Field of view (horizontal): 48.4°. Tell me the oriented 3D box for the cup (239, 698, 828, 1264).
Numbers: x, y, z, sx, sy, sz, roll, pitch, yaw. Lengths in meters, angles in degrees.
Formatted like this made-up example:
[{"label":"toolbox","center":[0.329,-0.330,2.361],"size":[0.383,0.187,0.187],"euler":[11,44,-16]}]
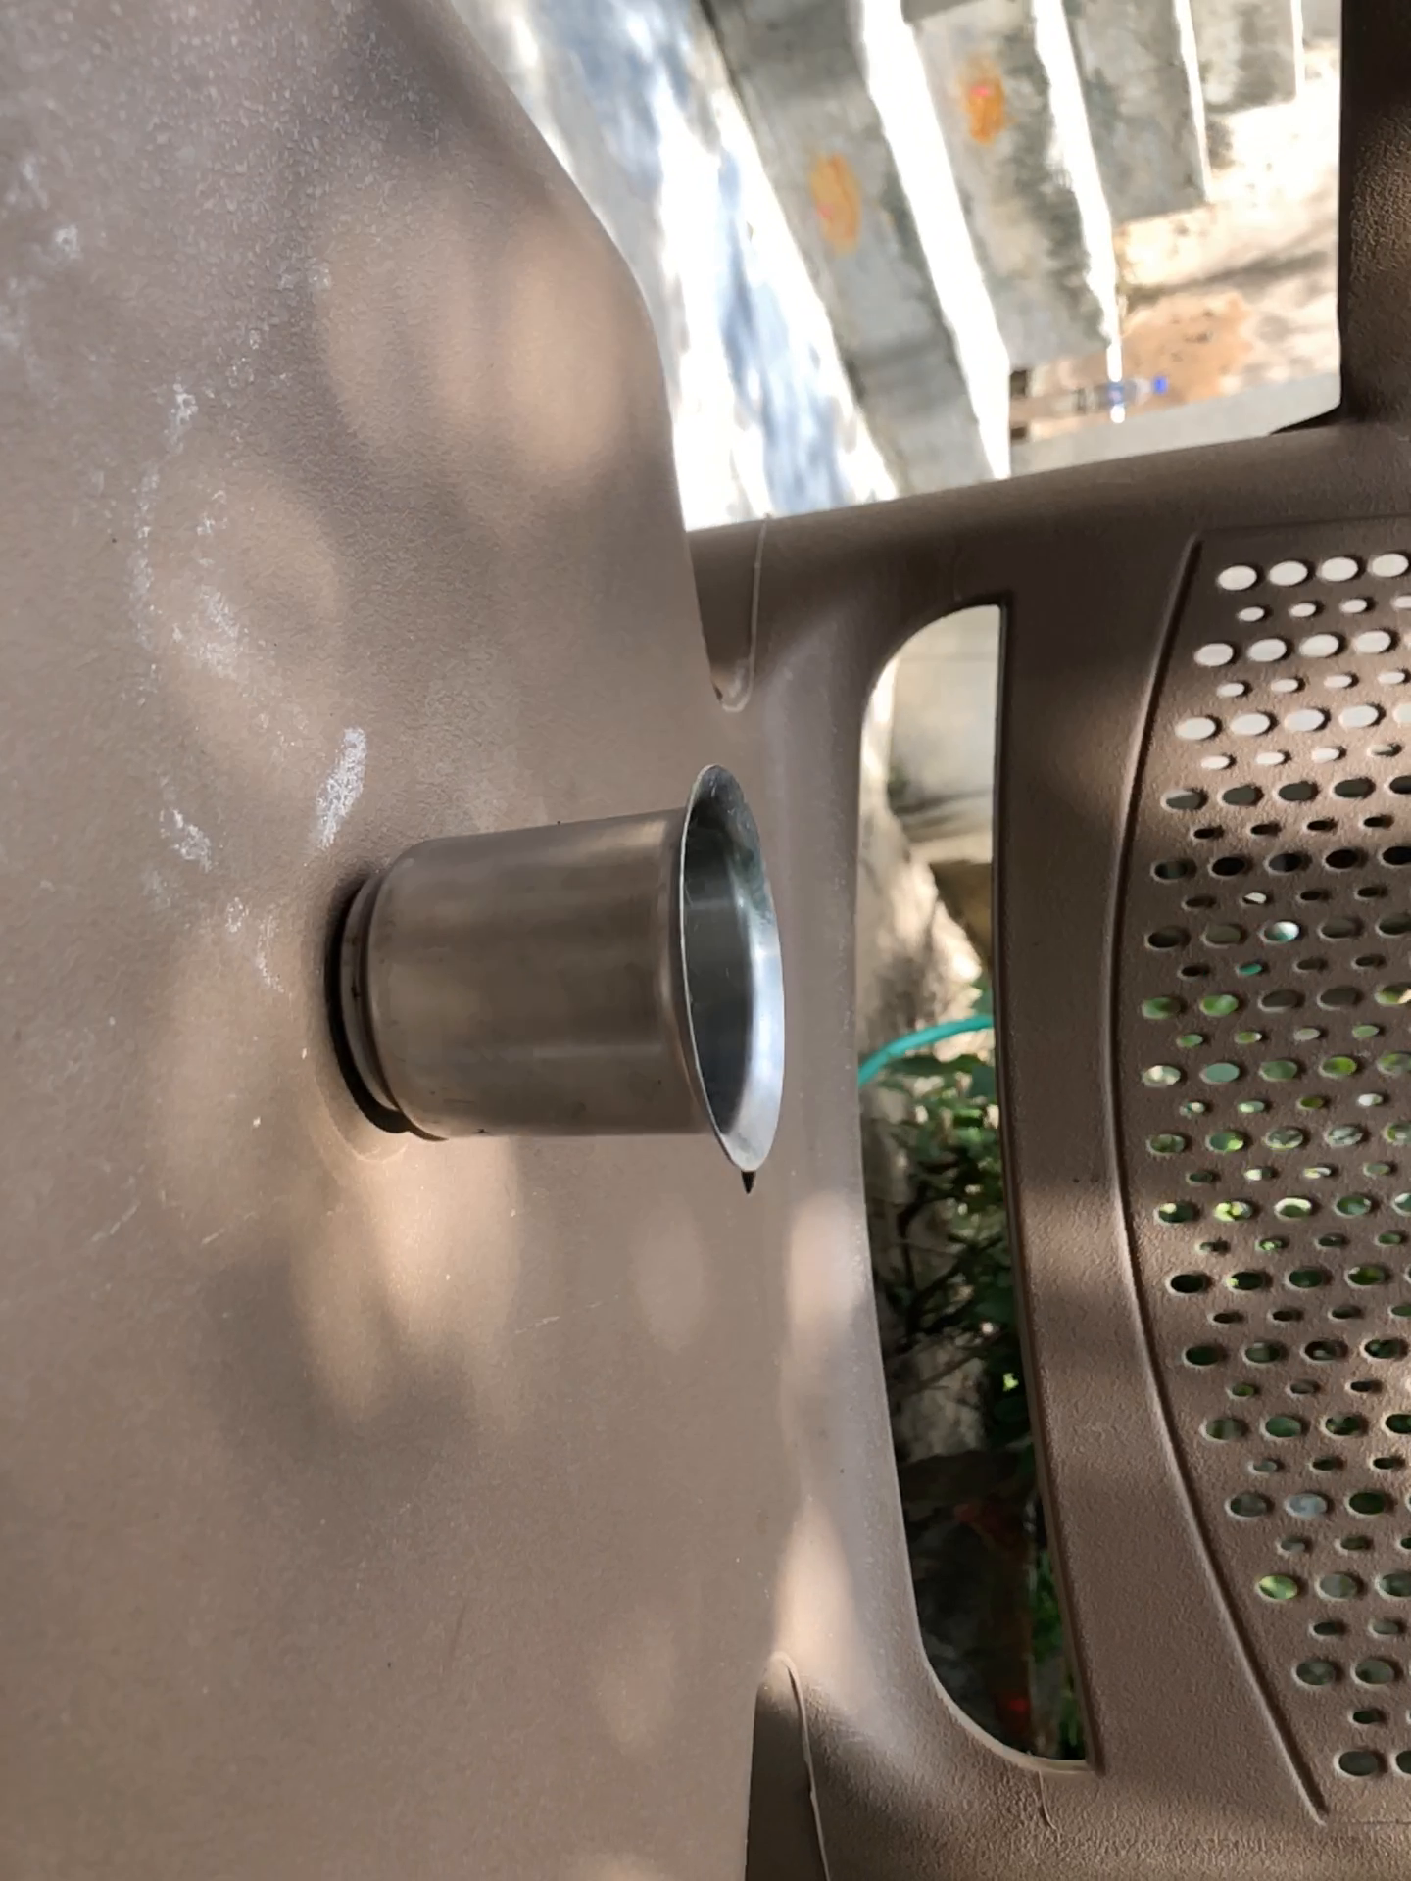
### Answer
[{"label":"cup","center":[-0.022,0.007,0.251],"size":[0.060,0.060,0.060],"euler":[-7,90,-69]}]
